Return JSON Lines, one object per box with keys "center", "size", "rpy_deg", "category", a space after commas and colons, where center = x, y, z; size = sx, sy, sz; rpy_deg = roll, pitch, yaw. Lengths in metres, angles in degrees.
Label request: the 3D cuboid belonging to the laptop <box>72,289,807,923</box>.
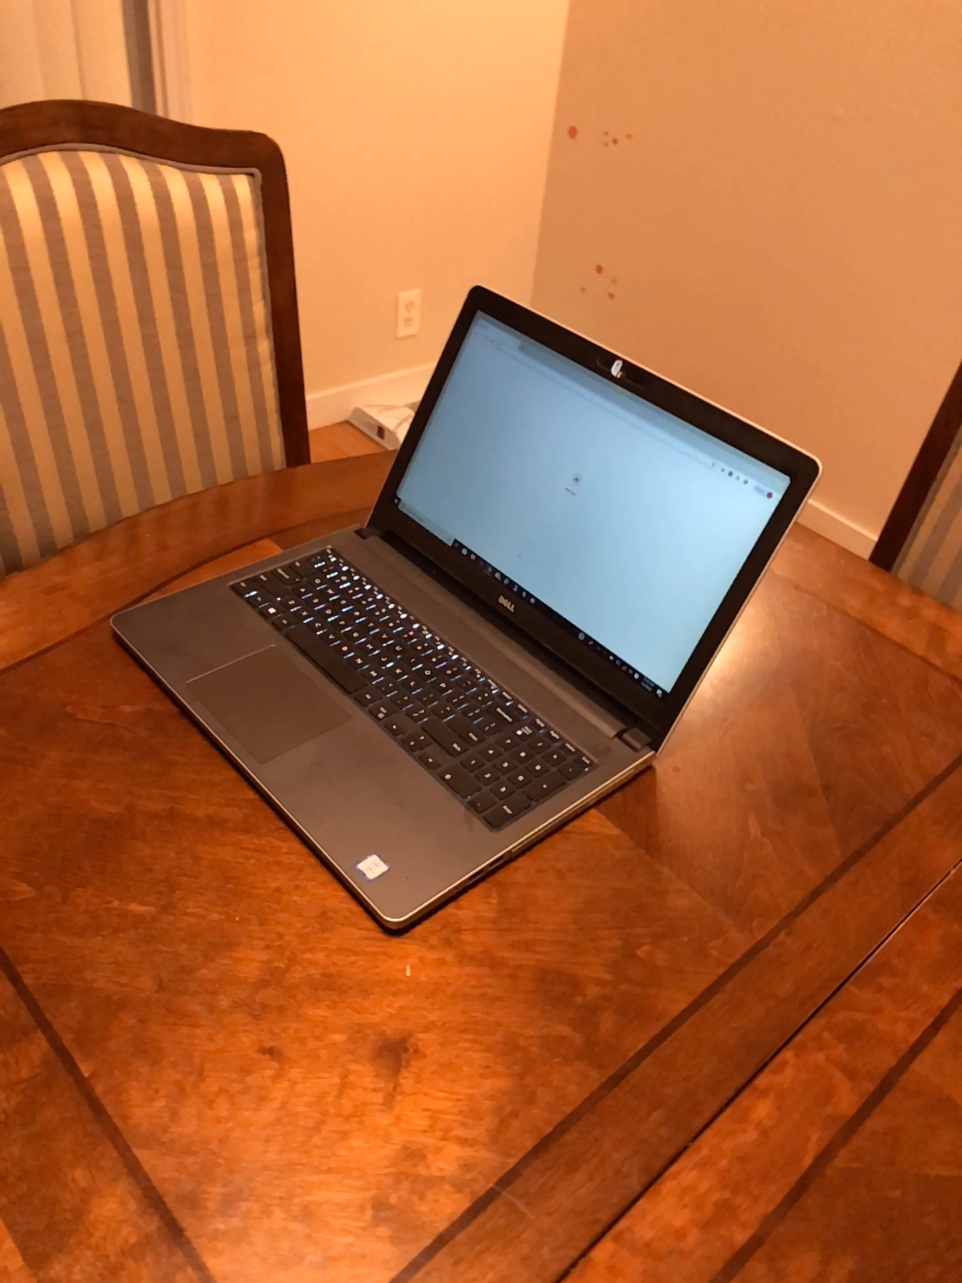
{"center": [-0.039, -0.068, 0.795], "size": [0.360, 0.212, 0.371], "rpy_deg": [-25, 49, -34], "category": "laptop"}
